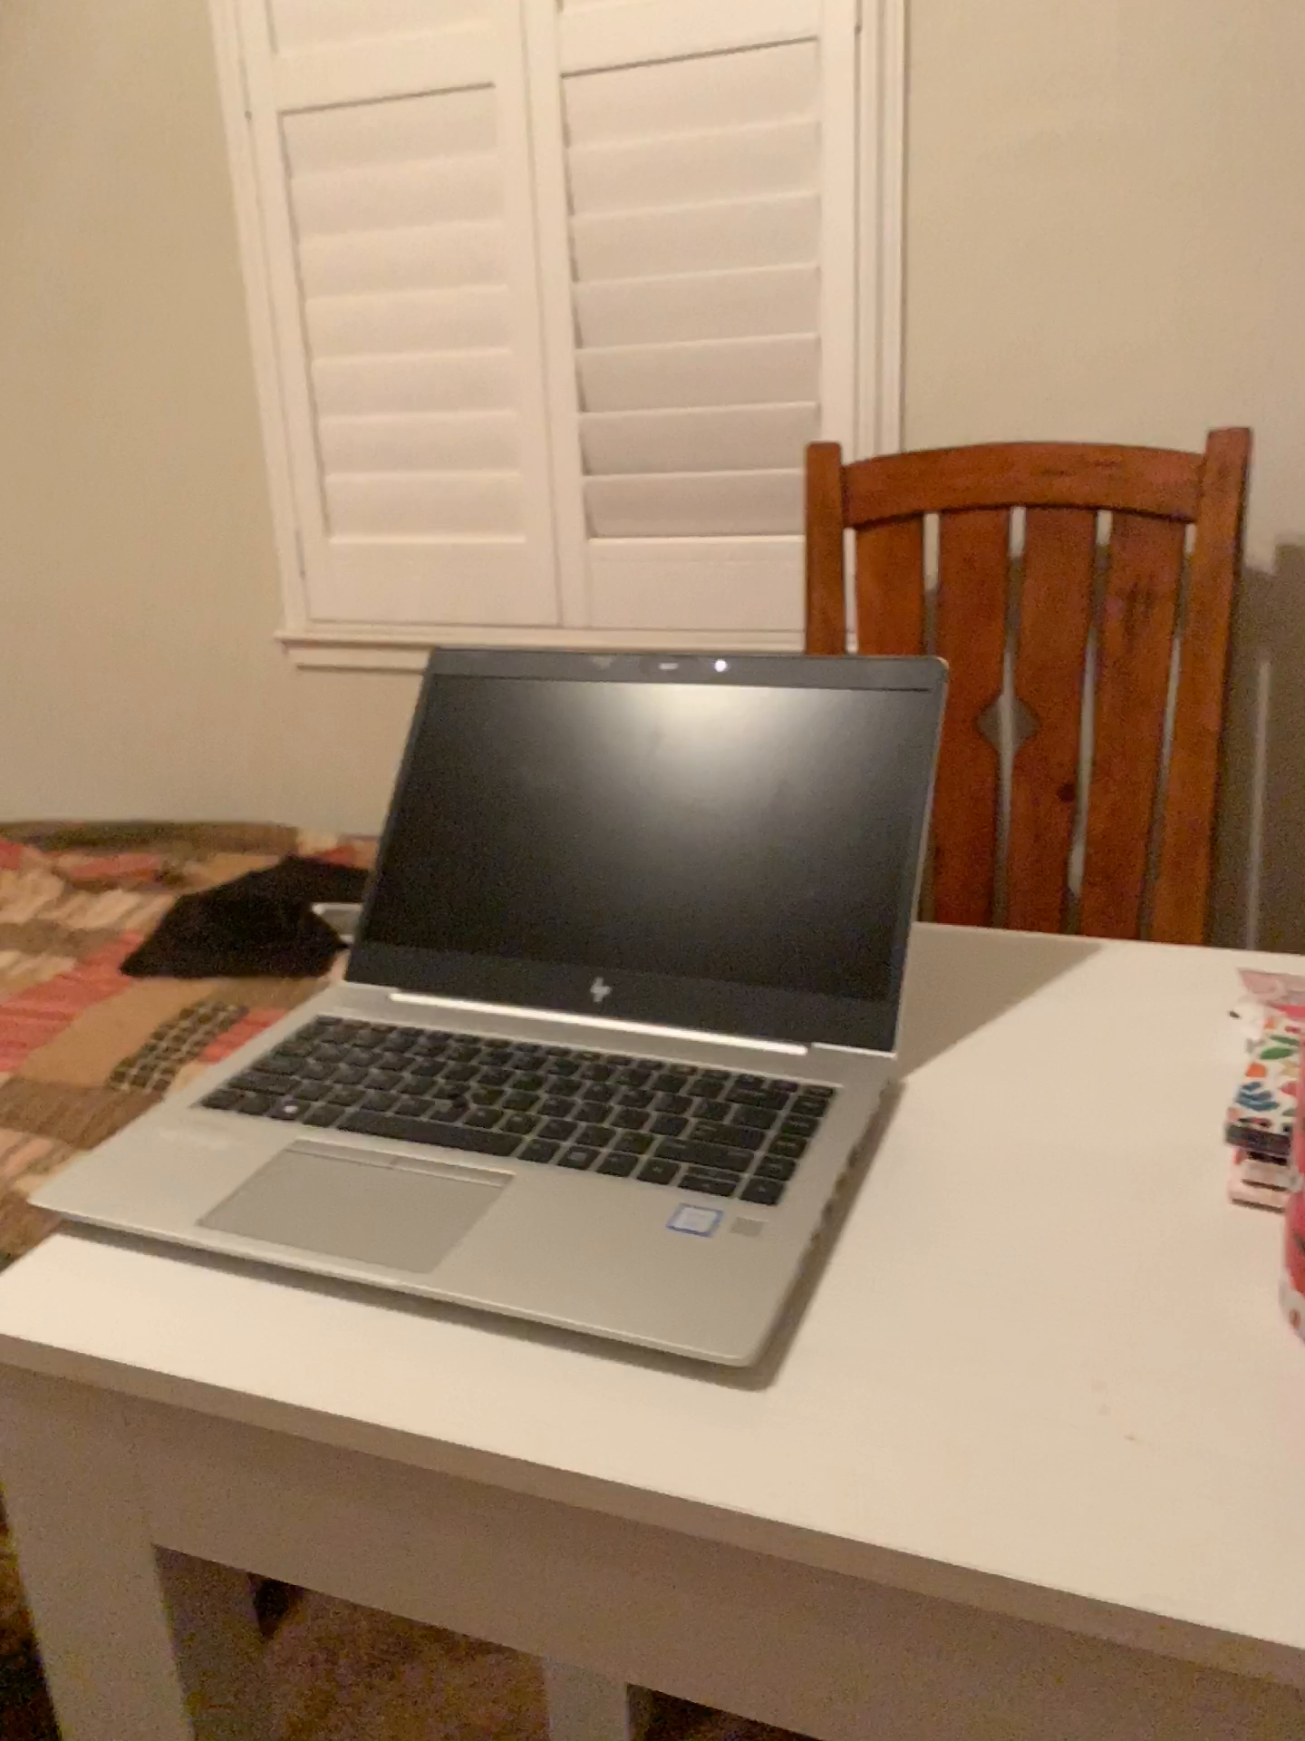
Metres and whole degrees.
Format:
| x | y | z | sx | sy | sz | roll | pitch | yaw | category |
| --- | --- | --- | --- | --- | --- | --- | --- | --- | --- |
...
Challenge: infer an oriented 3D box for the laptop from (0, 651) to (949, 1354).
| x | y | z | sx | sy | sz | roll | pitch | yaw | category |
| --- | --- | --- | --- | --- | --- | --- | --- | --- | --- |
| -0.051 | 0.013 | 0.636 | 0.310 | 0.159 | 0.366 | 5 | 20 | 21 | laptop |
